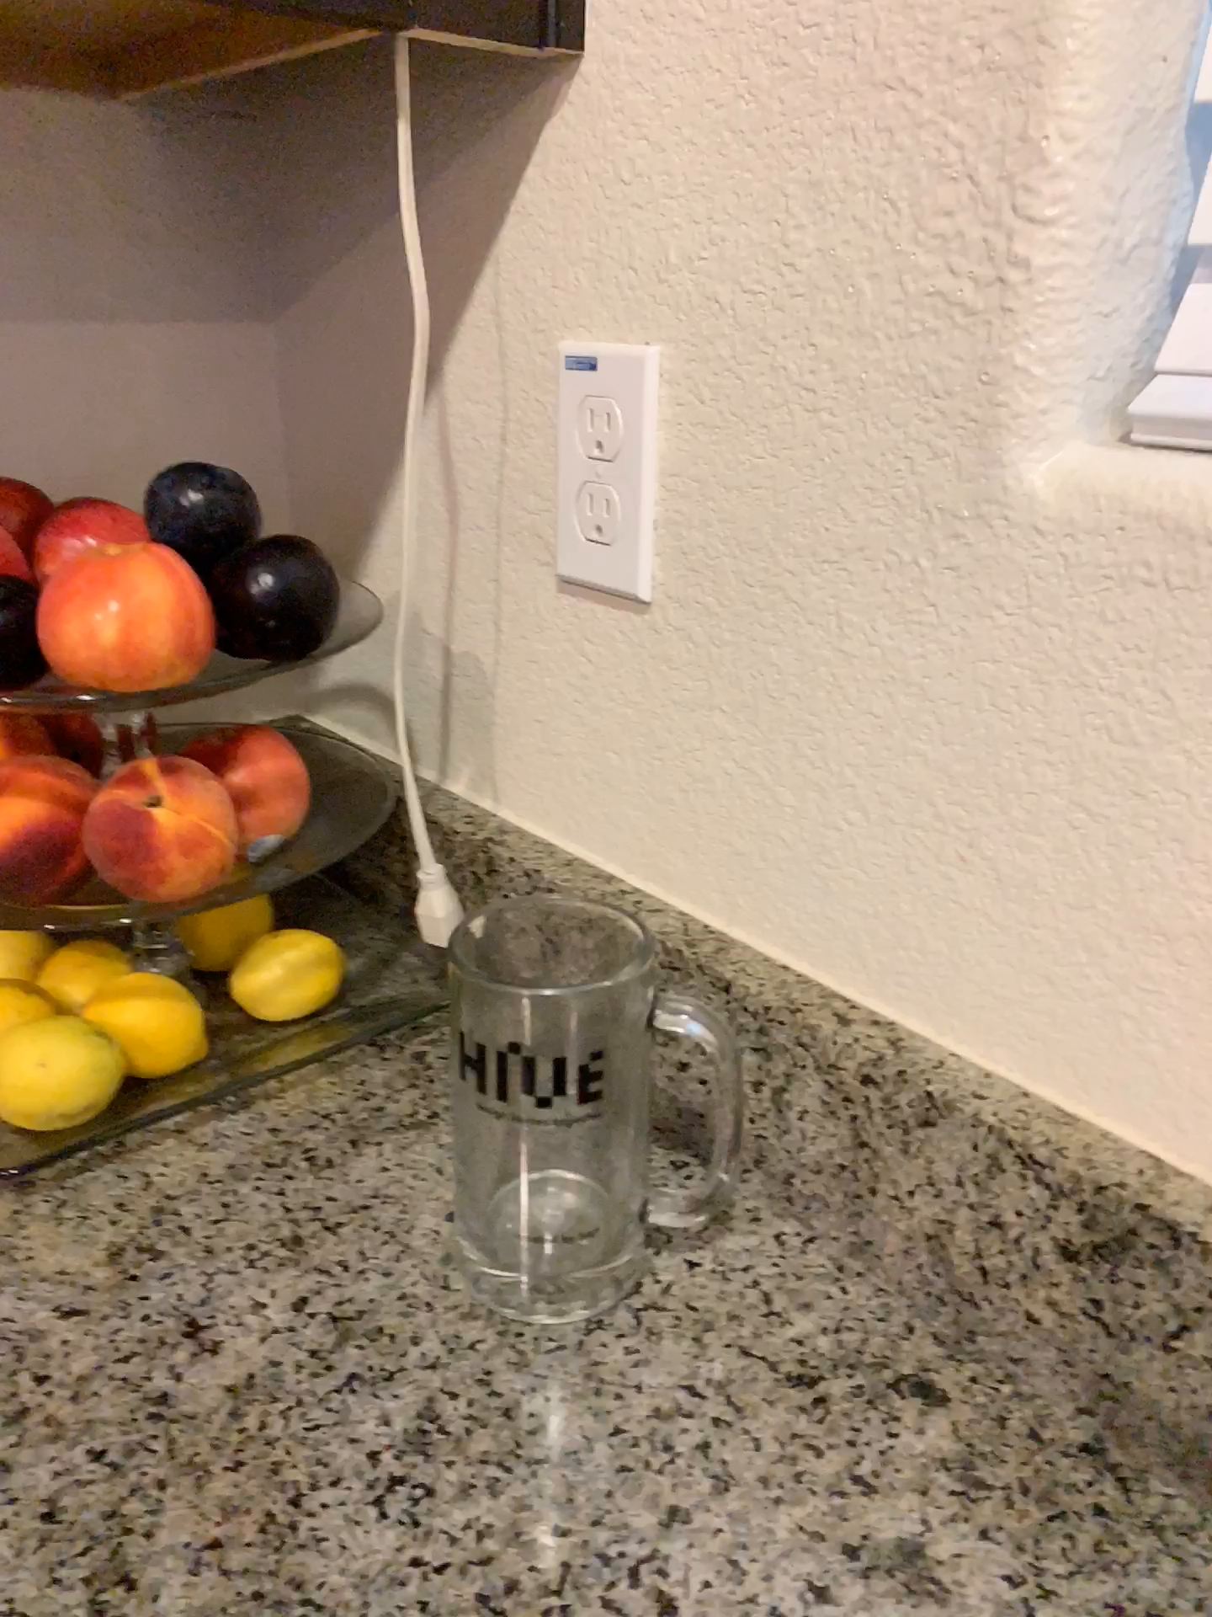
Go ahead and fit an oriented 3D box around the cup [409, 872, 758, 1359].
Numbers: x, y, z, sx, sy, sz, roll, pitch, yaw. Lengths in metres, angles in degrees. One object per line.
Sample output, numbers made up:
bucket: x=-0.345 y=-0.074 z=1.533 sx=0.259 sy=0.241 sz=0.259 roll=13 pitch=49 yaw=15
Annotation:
cup: x=-0.006 y=0.120 z=0.499 sx=0.120 sy=0.159 sz=0.081 roll=4 pitch=21 yaw=8
